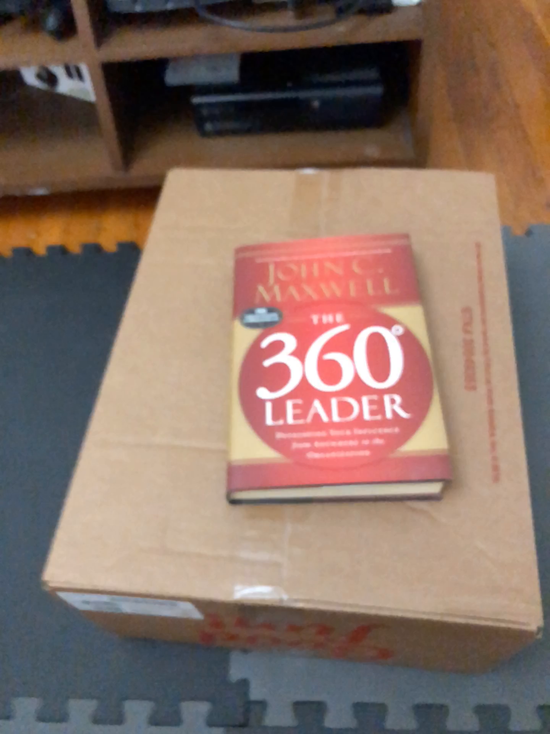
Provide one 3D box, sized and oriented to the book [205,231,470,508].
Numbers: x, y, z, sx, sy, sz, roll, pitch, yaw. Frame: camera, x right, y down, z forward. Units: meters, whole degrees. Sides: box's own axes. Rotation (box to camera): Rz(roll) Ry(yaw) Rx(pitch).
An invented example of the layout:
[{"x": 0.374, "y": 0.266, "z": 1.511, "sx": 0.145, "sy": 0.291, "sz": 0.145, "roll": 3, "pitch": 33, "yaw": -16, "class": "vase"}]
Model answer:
[{"x": 0.044, "y": -0.009, "z": 0.498, "sx": 0.180, "sy": 0.030, "sz": 0.241, "roll": -2, "pitch": 56, "yaw": 5, "class": "book"}]
